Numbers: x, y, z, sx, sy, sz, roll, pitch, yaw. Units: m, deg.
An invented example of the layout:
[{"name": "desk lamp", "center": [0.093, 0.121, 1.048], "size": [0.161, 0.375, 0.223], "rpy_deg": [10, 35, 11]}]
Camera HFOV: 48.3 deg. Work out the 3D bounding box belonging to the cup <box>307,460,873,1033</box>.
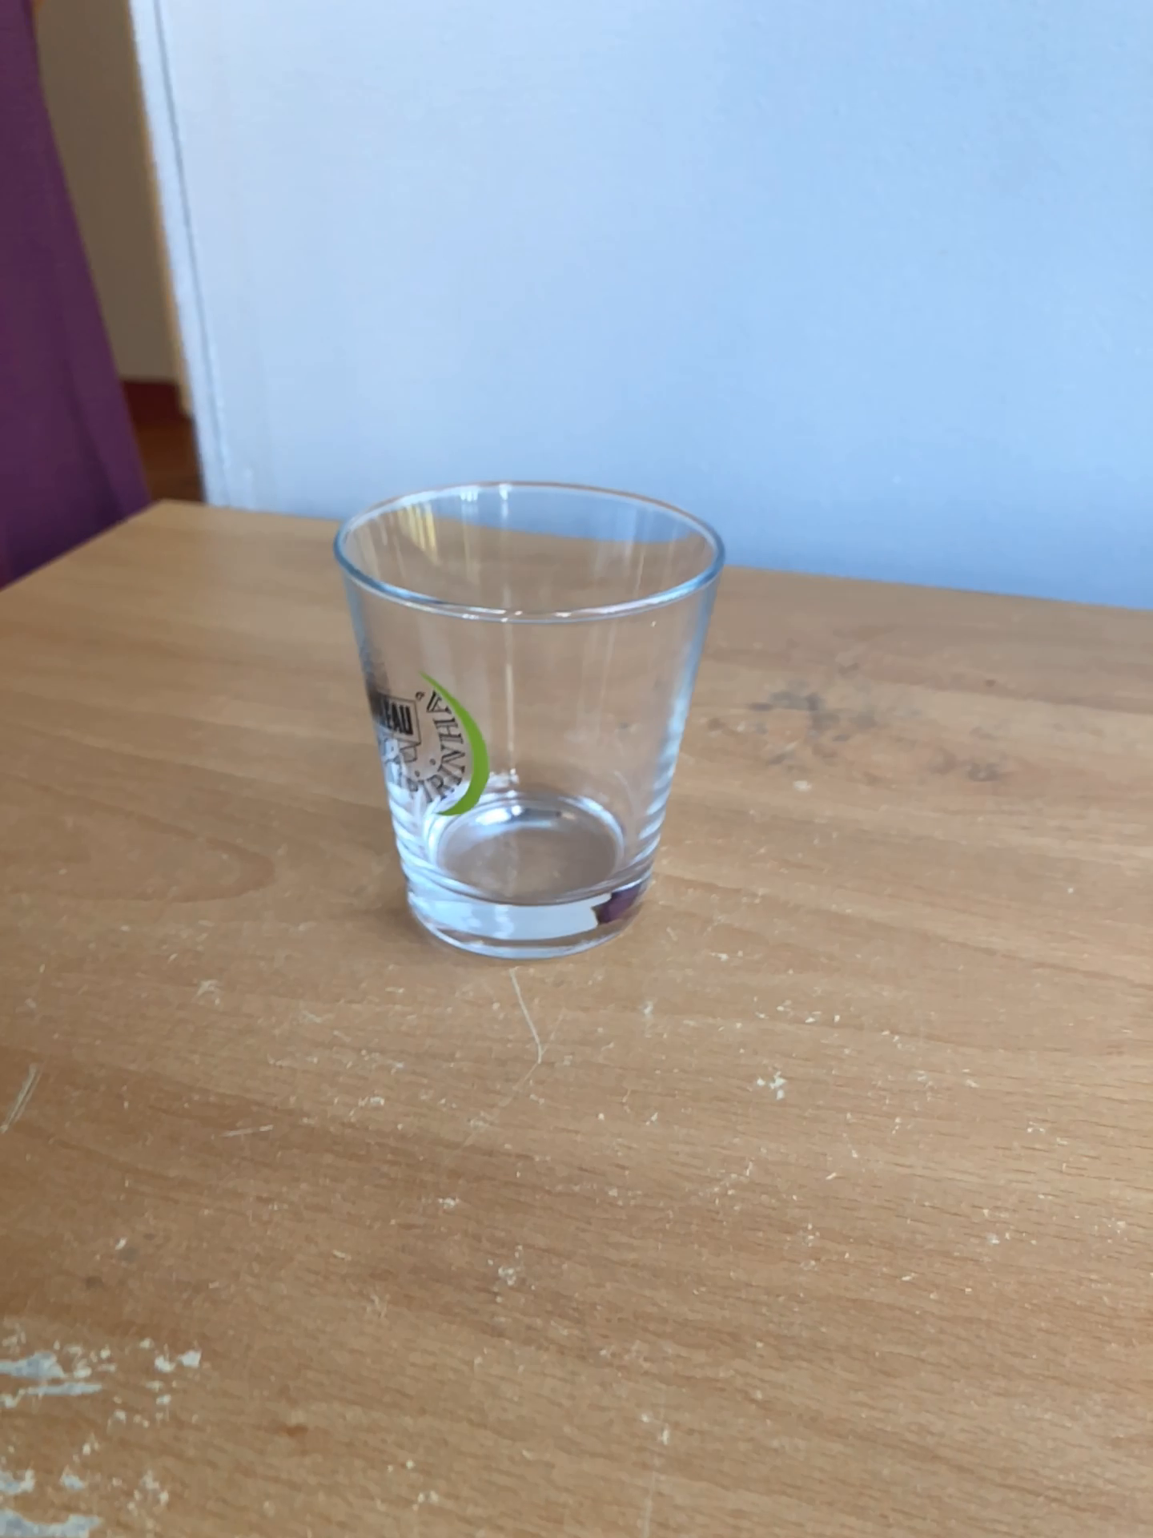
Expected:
[{"name": "cup", "center": [-0.001, -0.011, 0.257], "size": [0.076, 0.073, 0.079], "rpy_deg": [0, 28, 0]}]
